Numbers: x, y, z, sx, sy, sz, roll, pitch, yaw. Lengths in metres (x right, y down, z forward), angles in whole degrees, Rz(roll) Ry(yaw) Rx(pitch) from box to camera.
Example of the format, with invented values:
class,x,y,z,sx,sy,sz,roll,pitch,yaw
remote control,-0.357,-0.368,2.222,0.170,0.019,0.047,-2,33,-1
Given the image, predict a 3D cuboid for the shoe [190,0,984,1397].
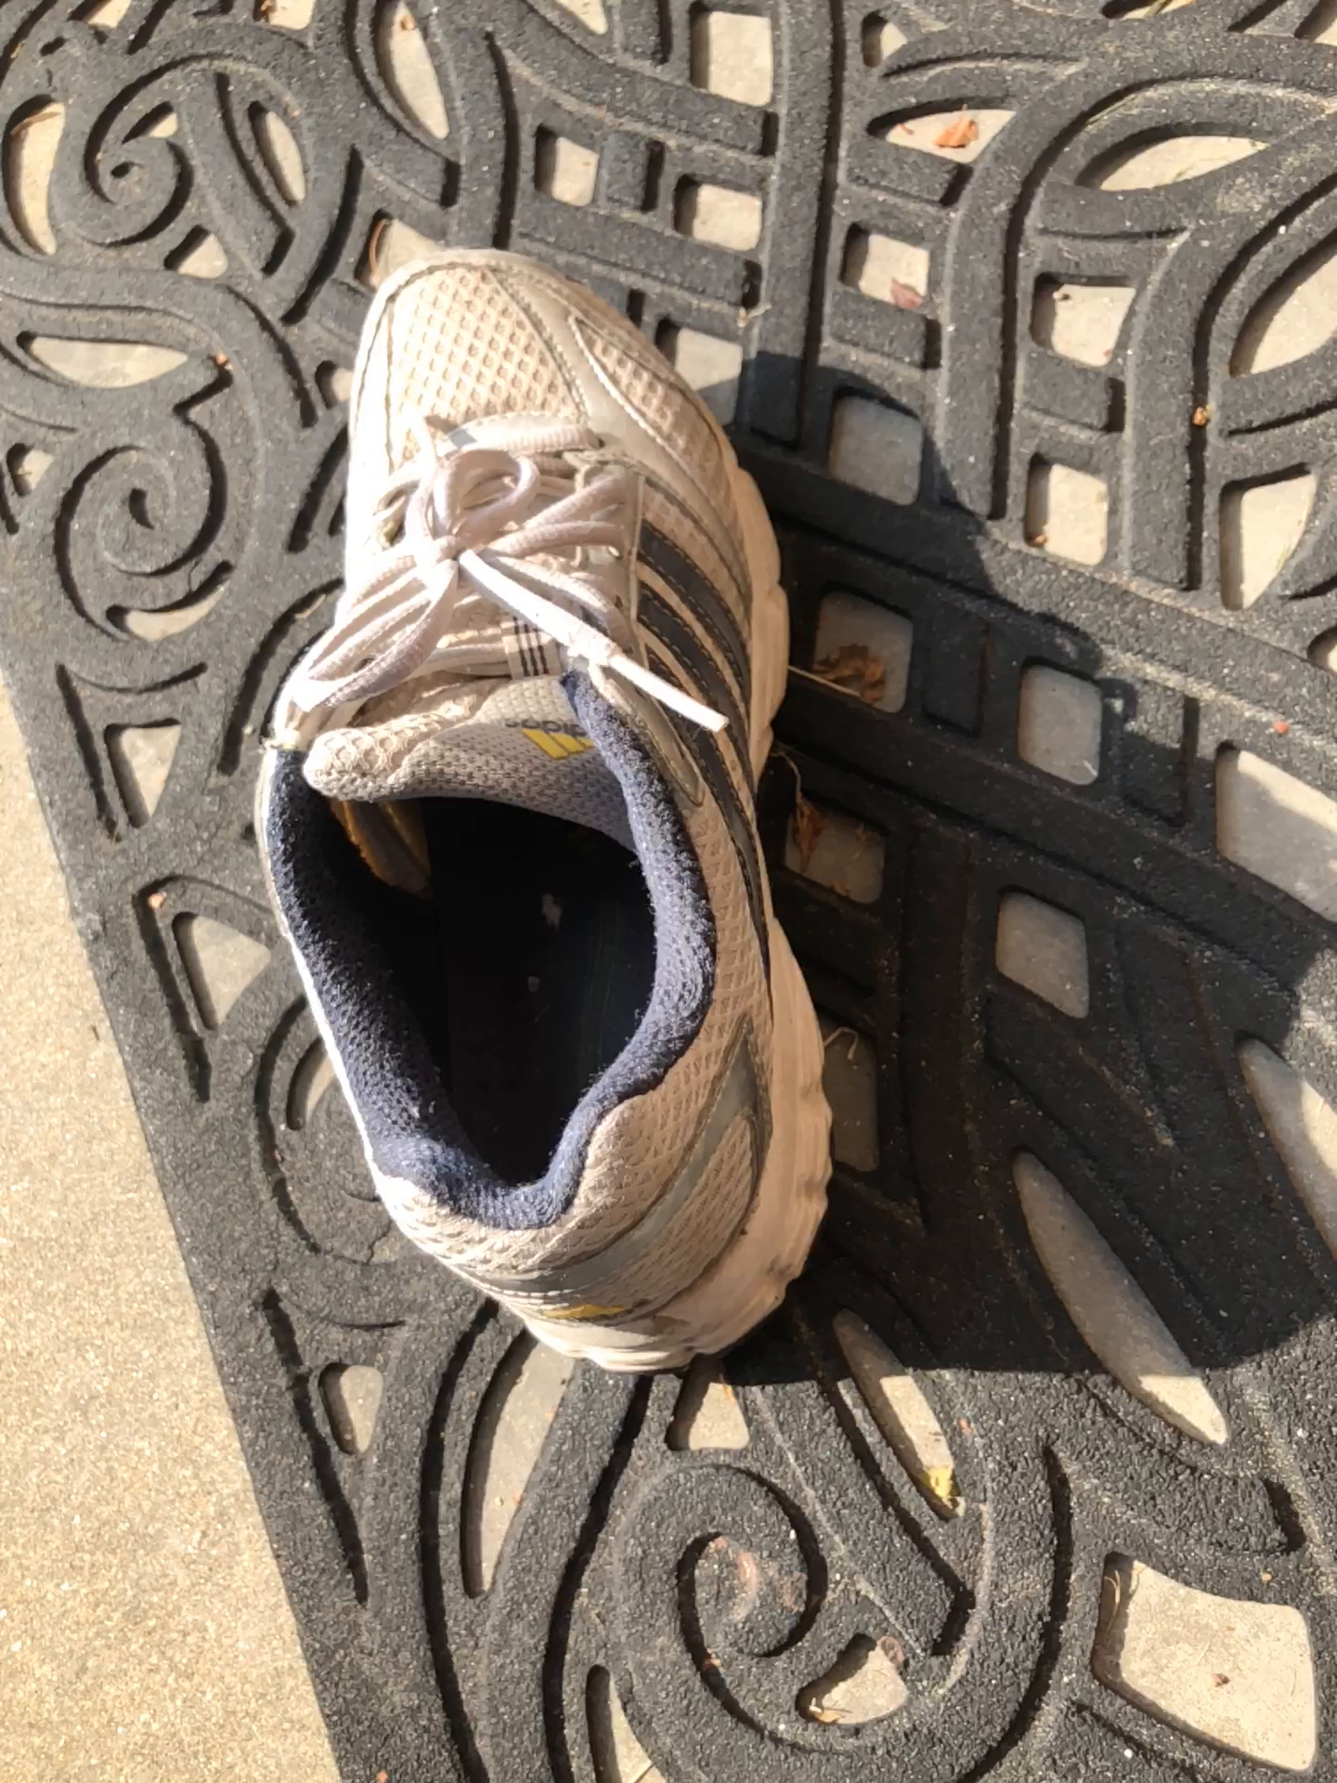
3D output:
class,x,y,z,sx,sy,sz,roll,pitch,yaw
shoe,-0.016,-0.037,0.313,0.100,0.130,0.260,-13,69,14
